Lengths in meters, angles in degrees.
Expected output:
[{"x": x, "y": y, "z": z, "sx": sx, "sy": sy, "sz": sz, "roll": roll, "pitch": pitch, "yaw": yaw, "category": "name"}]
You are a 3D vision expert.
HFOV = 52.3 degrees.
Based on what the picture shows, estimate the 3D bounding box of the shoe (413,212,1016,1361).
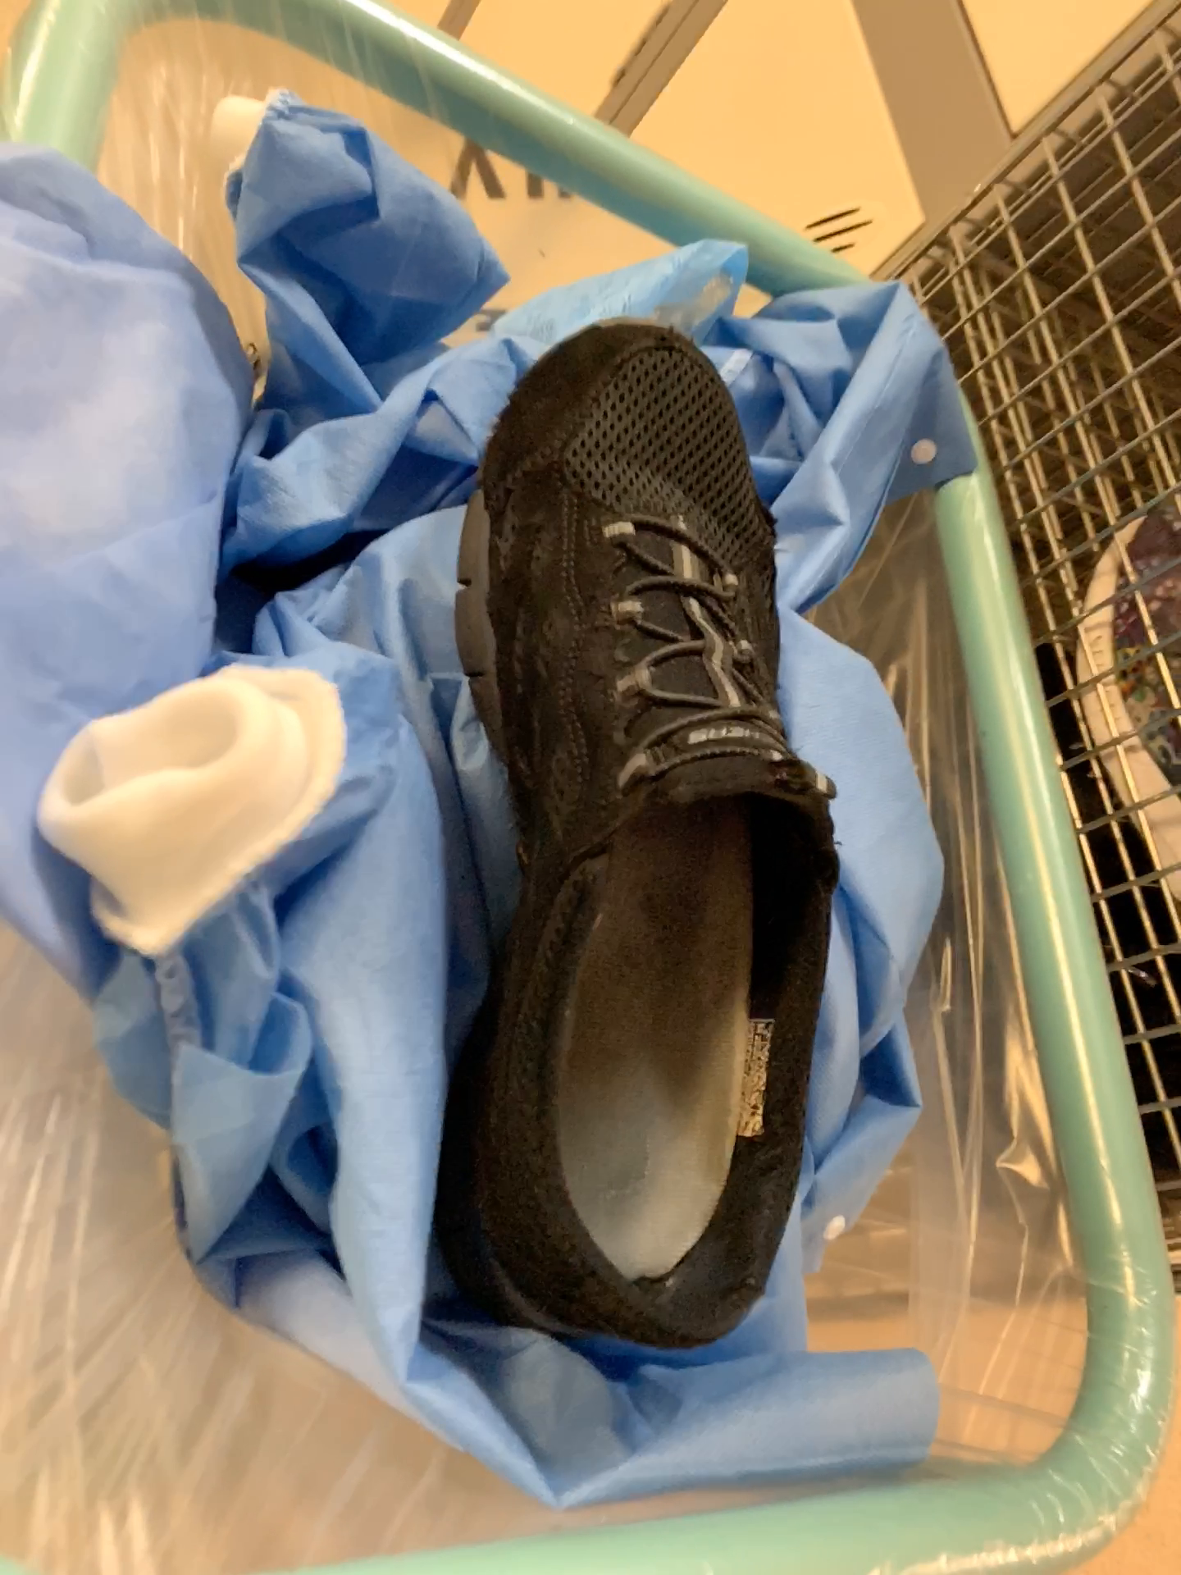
[{"x": 0.016, "y": 0.000, "z": 0.305, "sx": 0.088, "sy": 0.094, "sz": 0.255, "roll": 11, "pitch": 64, "yaw": -32, "category": "shoe"}]
